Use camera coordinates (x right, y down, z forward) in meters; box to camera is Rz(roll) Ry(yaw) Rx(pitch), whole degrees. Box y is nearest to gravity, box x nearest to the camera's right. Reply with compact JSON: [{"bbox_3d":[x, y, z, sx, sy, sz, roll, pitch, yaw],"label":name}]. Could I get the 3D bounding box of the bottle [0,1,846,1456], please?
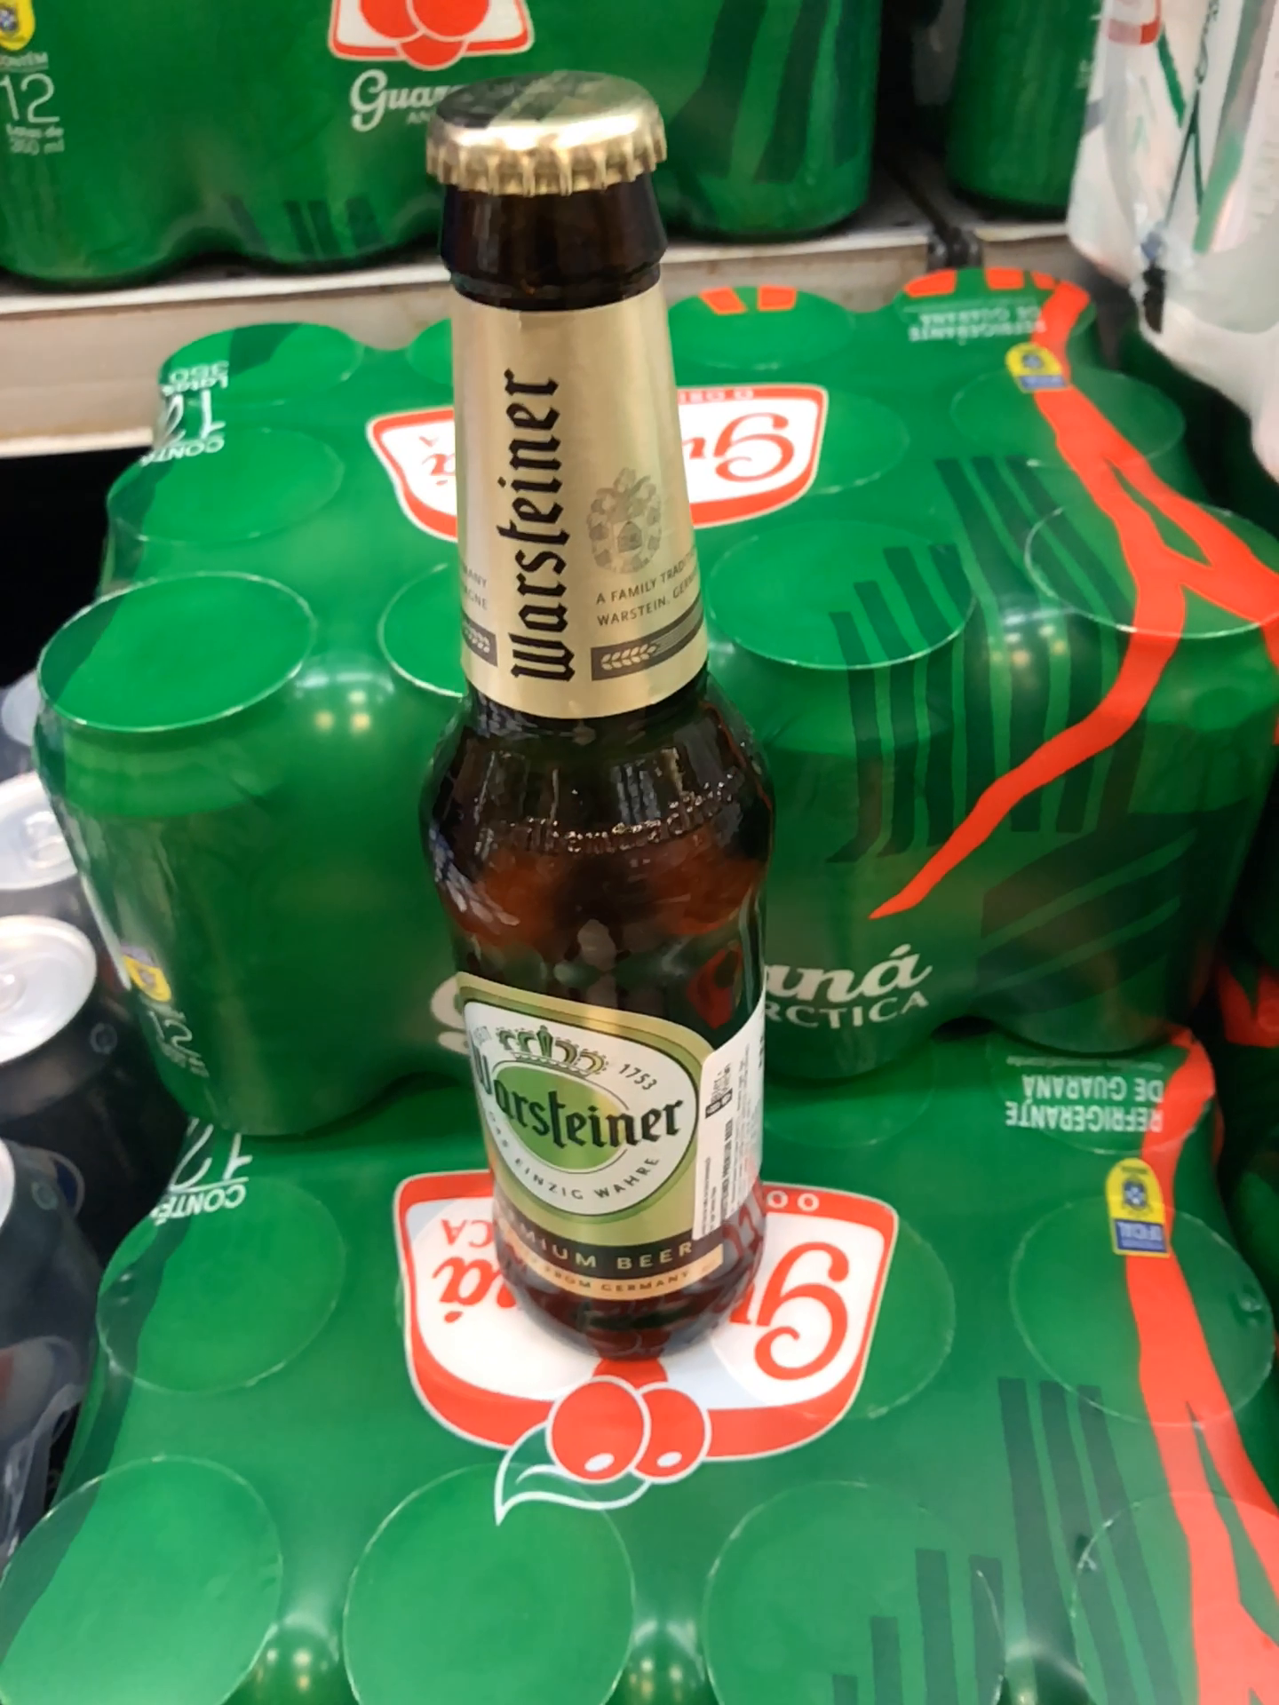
[{"bbox_3d":[-0.017,0.003,0.229,0.070,0.228,0.060,17,46,21],"label":"bottle"}]
